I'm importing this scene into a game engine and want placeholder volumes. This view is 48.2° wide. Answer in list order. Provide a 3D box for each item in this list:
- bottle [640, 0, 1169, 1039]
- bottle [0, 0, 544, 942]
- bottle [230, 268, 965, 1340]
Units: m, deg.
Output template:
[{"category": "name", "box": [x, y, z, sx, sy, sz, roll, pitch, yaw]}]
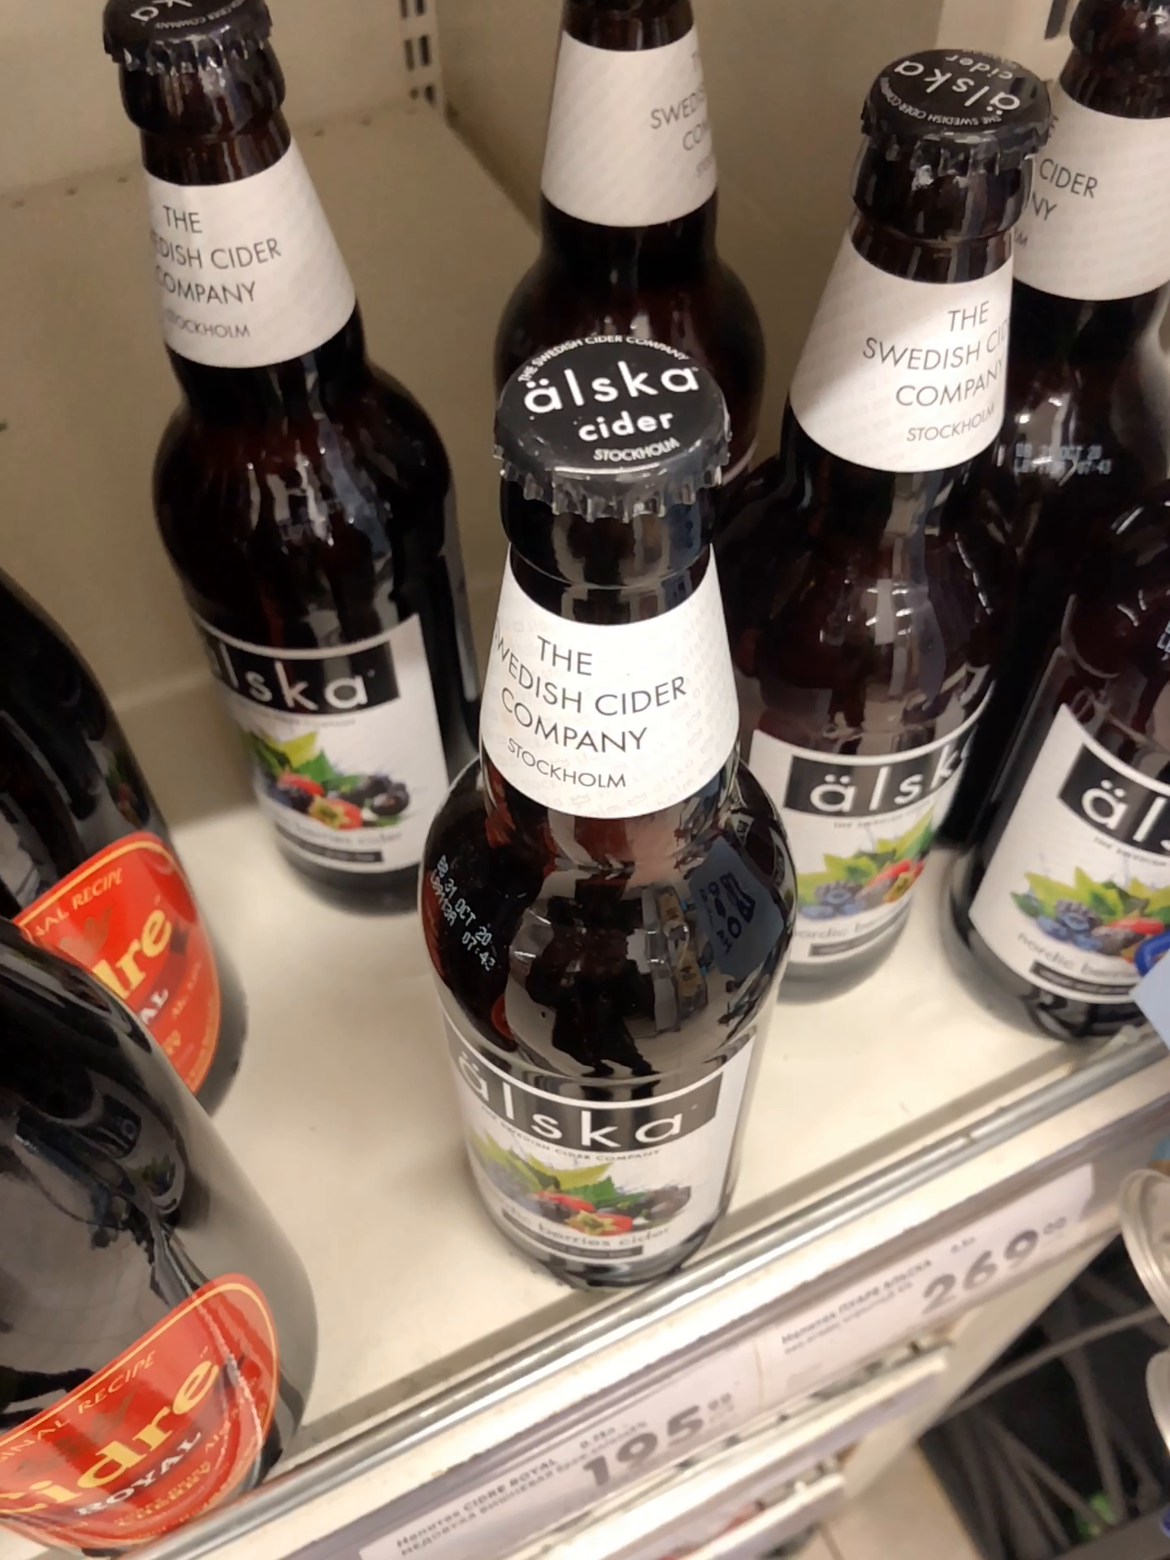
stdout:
[{"category": "bottle", "box": [0.061, -0.036, 0.297, 0.070, 0.244, 0.063, -28, 58, -18]}, {"category": "bottle", "box": [-0.060, -0.059, 0.314, 0.075, 0.235, 0.077, -1, 53, 1]}, {"category": "bottle", "box": [0.007, 0.032, 0.239, 0.070, 0.229, 0.063, 10, 54, 9]}]
